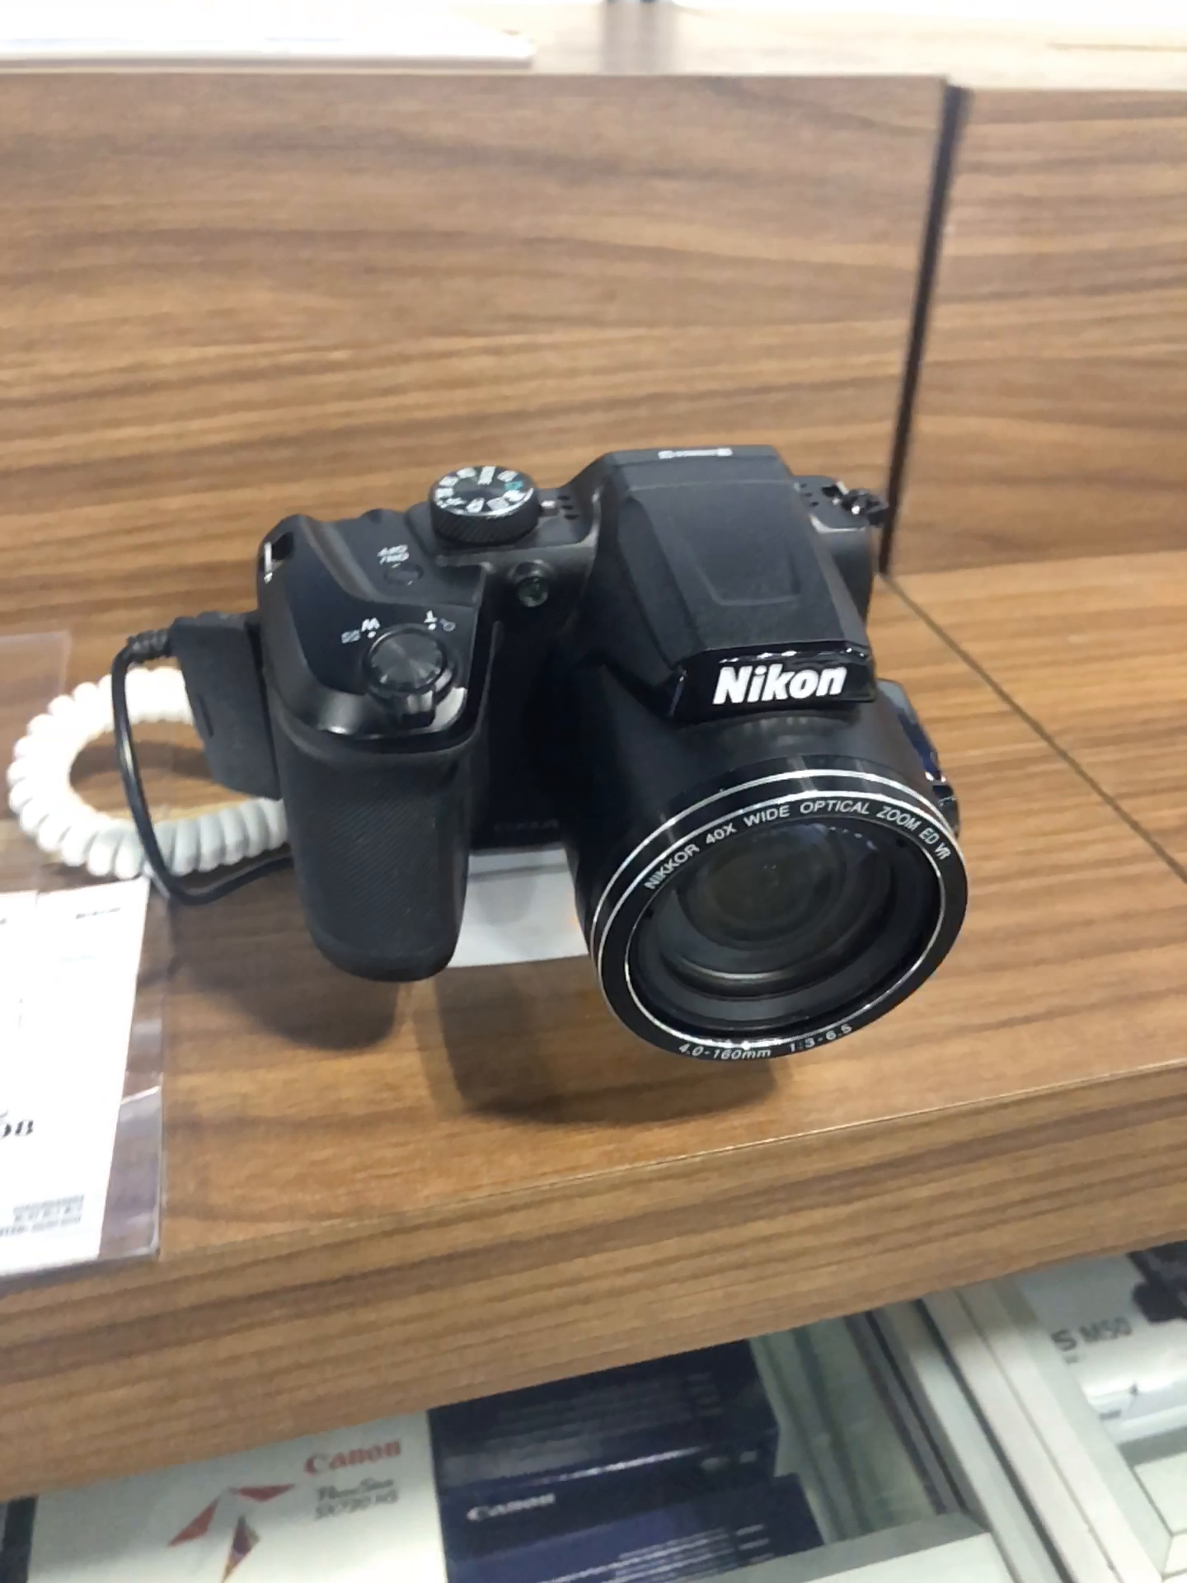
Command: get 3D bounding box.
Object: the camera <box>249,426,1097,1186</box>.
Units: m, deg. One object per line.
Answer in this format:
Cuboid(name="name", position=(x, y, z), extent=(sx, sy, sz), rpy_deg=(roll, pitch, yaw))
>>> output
Cuboid(name="camera", position=(0.003, -0.006, 0.228), extent=(0.110, 0.079, 0.096), rpy_deg=(-7, 33, -13))
